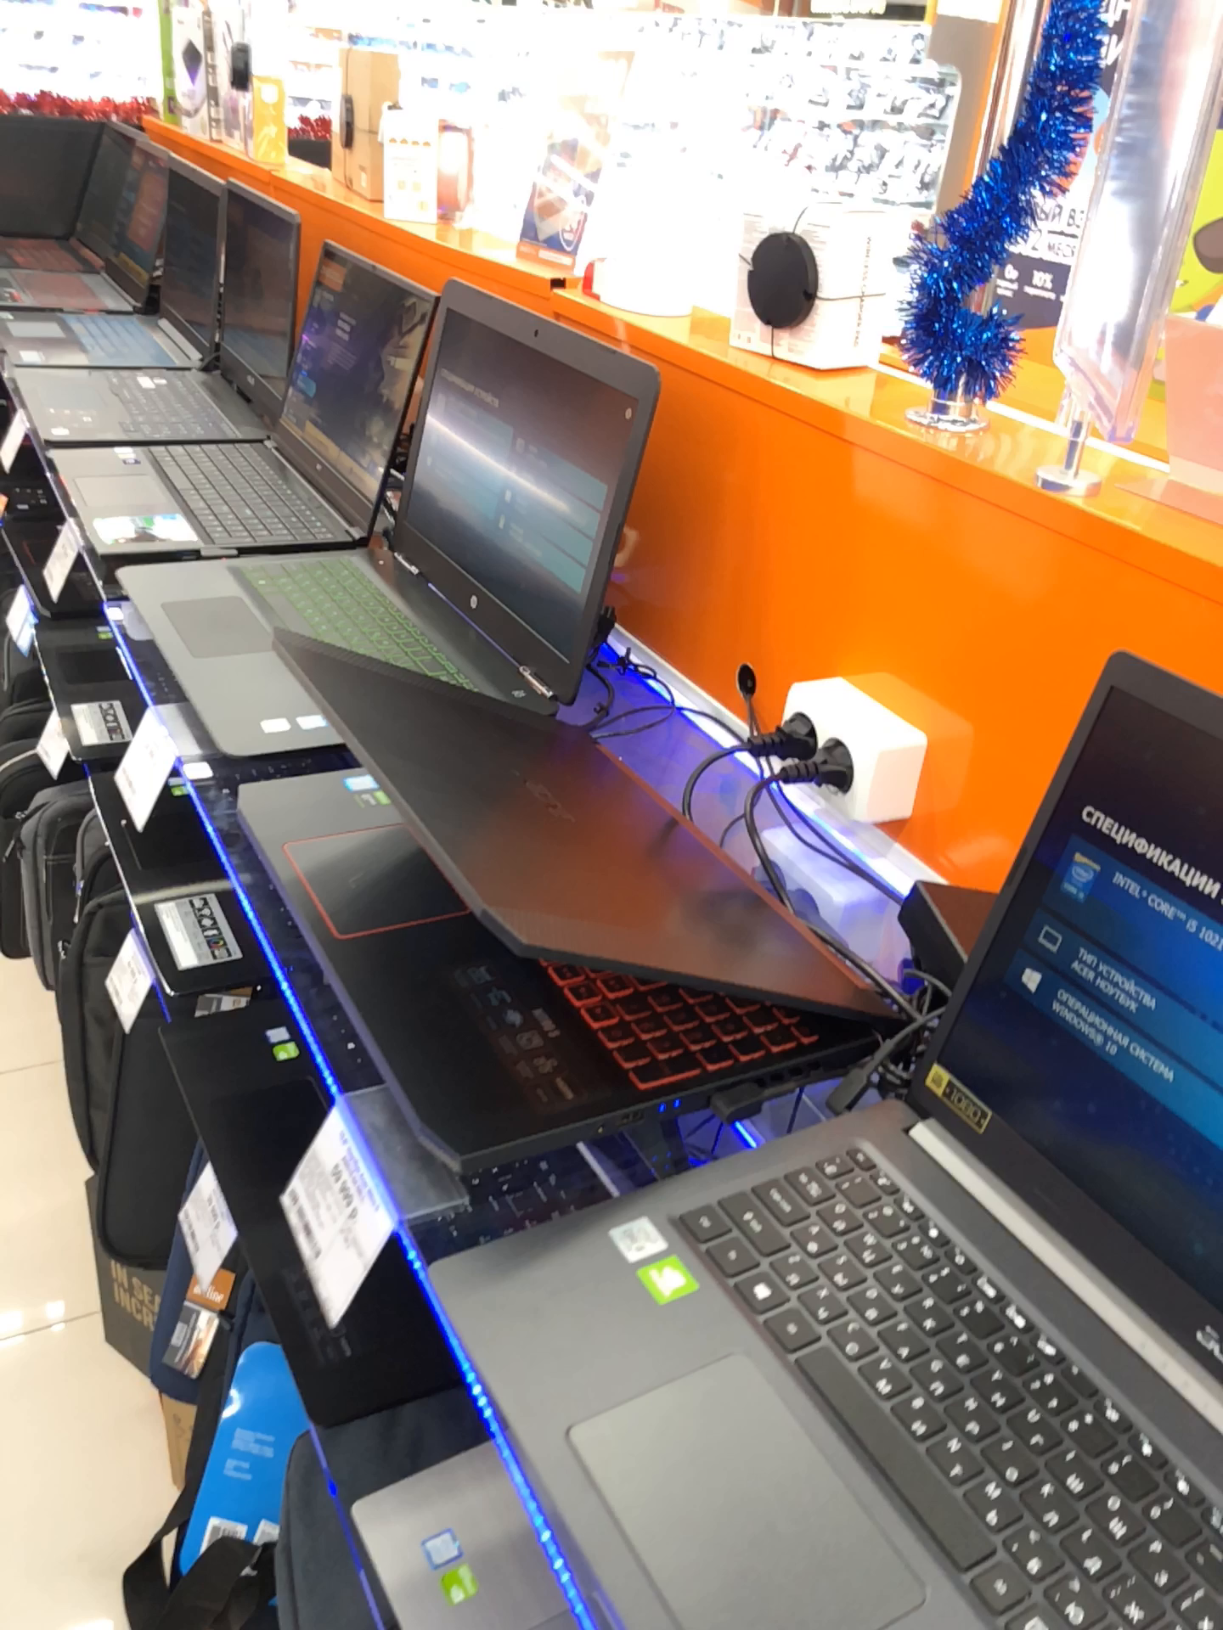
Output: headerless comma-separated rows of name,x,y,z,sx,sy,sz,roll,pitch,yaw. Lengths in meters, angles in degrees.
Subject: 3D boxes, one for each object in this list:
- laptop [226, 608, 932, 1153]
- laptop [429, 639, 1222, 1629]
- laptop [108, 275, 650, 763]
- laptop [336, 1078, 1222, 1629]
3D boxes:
laptop,-0.044,0.003,0.753,0.248,0.103,0.359,-9,32,-28
laptop,0.154,0.127,0.417,0.312,0.226,0.344,-10,31,-28
laptop,-0.206,-0.265,1.073,0.310,0.250,0.416,-9,31,-27
laptop,0.086,0.358,0.629,0.296,0.221,0.405,-9,30,-28
